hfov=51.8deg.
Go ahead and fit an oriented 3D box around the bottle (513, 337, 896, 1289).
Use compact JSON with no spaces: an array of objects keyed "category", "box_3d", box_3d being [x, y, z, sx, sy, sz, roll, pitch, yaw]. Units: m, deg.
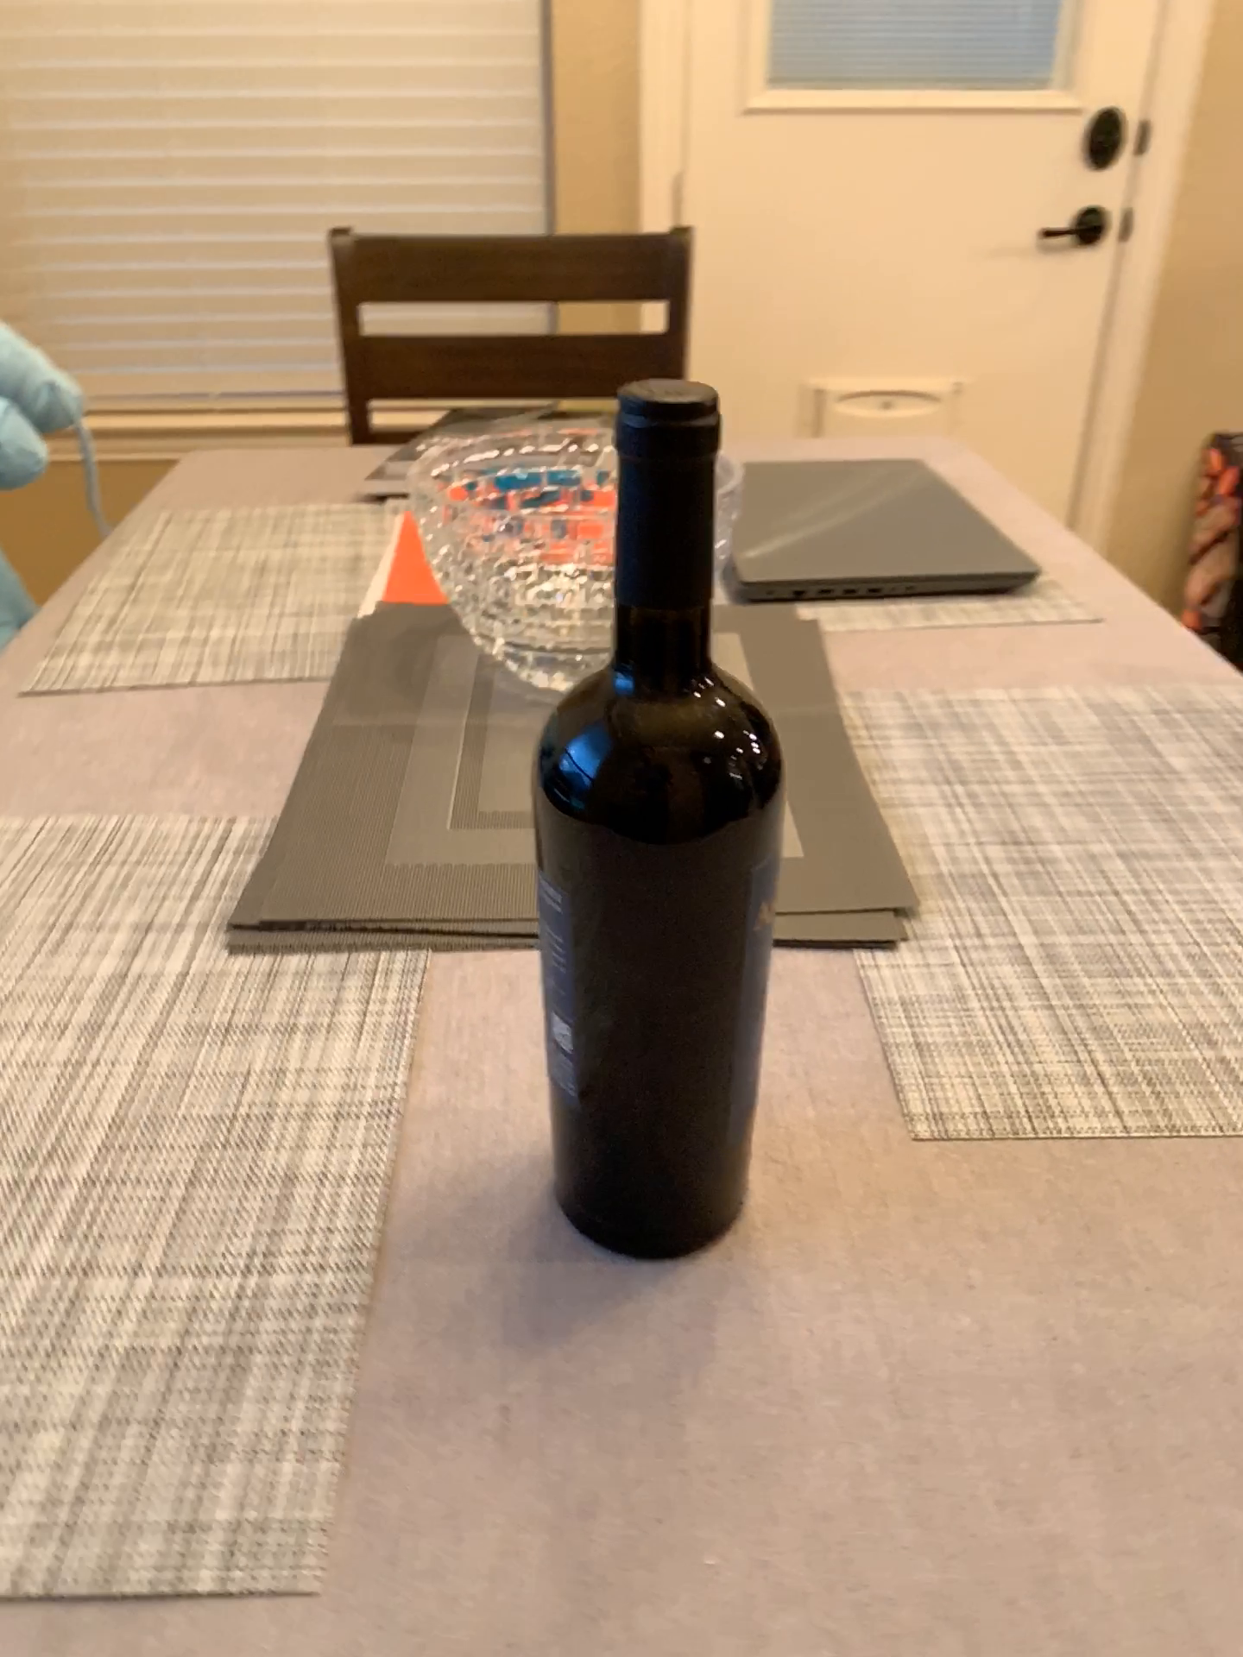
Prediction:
[{"category":"bottle","box_3d":[0.016,0.007,0.416,0.090,0.298,0.090,0,30,0]}]
